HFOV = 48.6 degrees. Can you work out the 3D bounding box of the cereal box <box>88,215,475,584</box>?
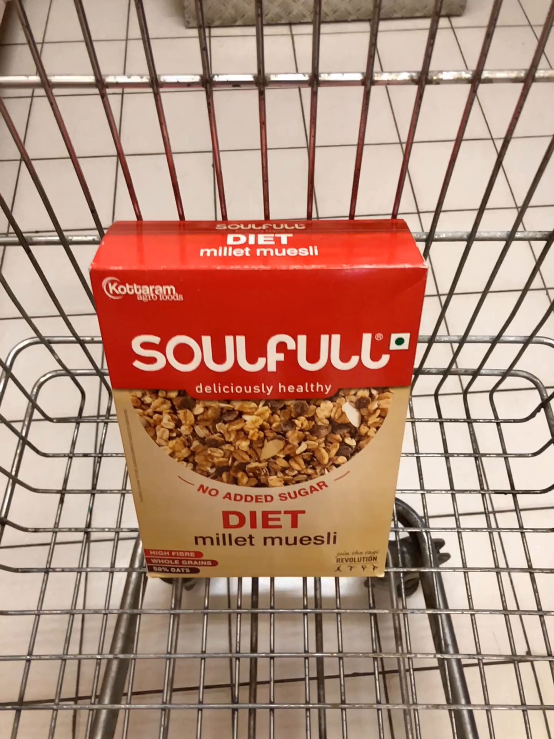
[{"bbox_3d":[0.001,0.035,0.367,0.170,0.249,0.050,0,38,0],"label":"cereal box"}]
